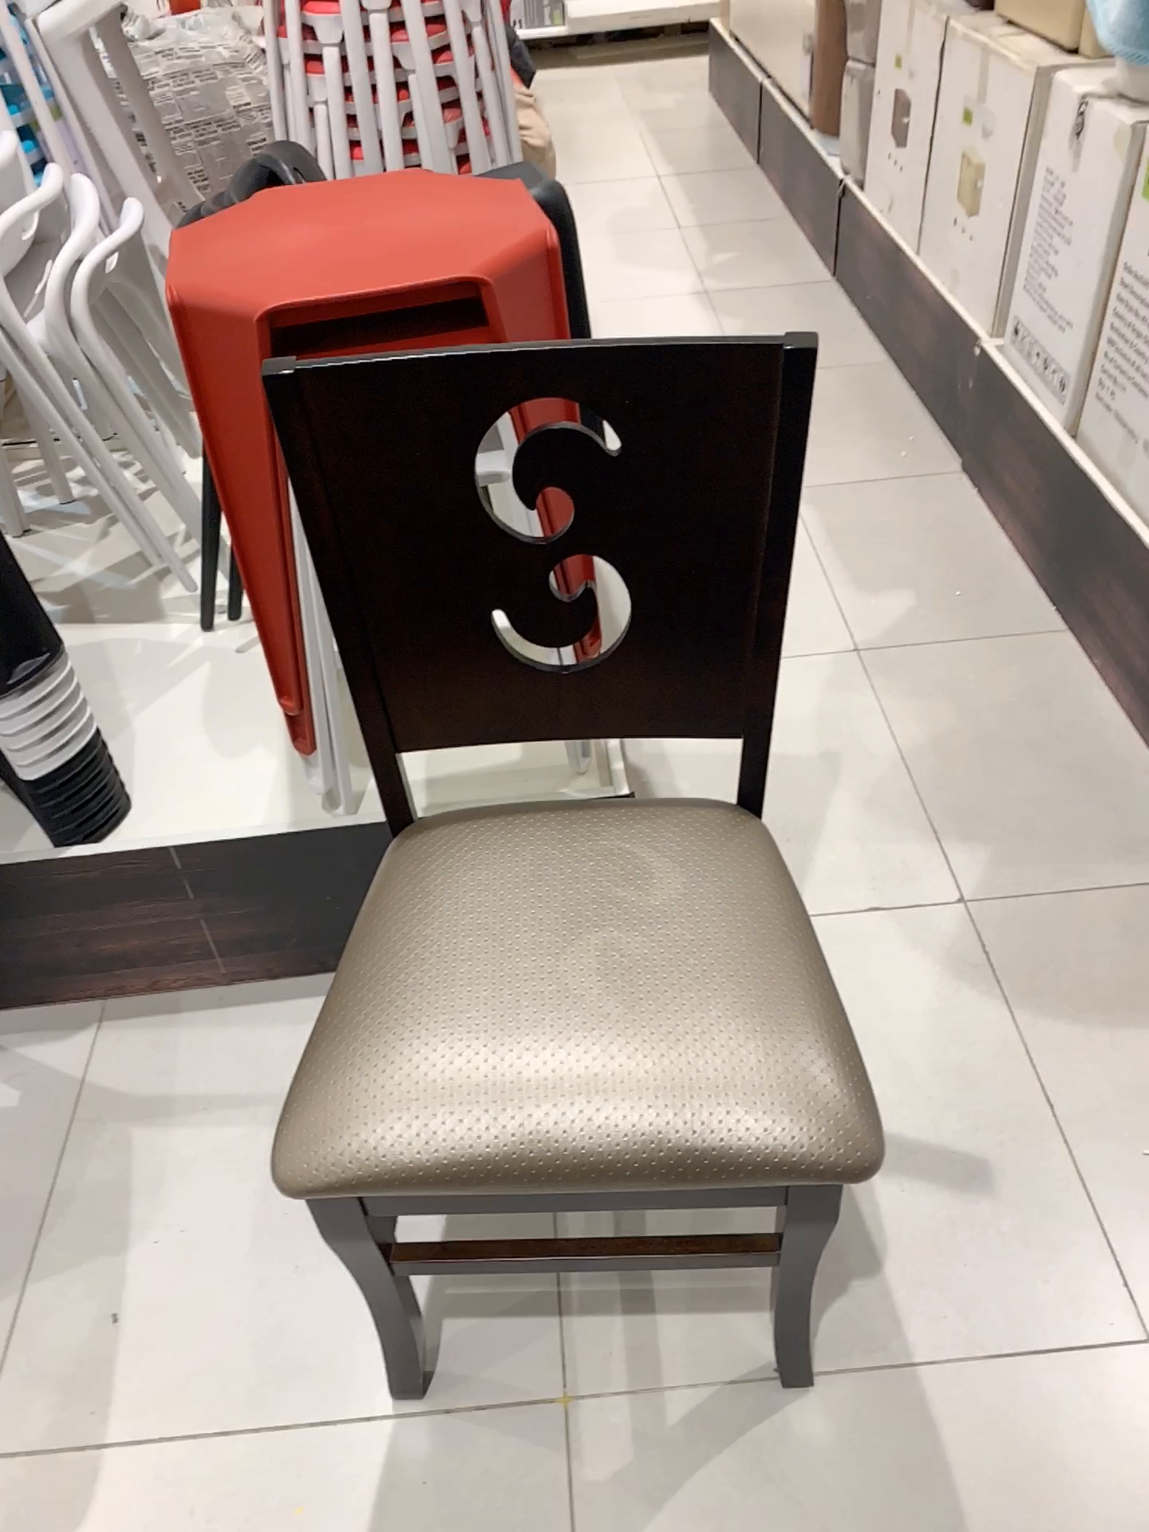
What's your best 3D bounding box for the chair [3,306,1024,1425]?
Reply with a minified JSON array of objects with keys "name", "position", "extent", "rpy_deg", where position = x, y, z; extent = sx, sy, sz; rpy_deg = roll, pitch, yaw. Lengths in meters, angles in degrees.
[{"name":"chair","position":[-0.020,0.126,1.046],"extent":[0.500,0.847,0.522],"rpy_deg":[-4,41,0]}]
